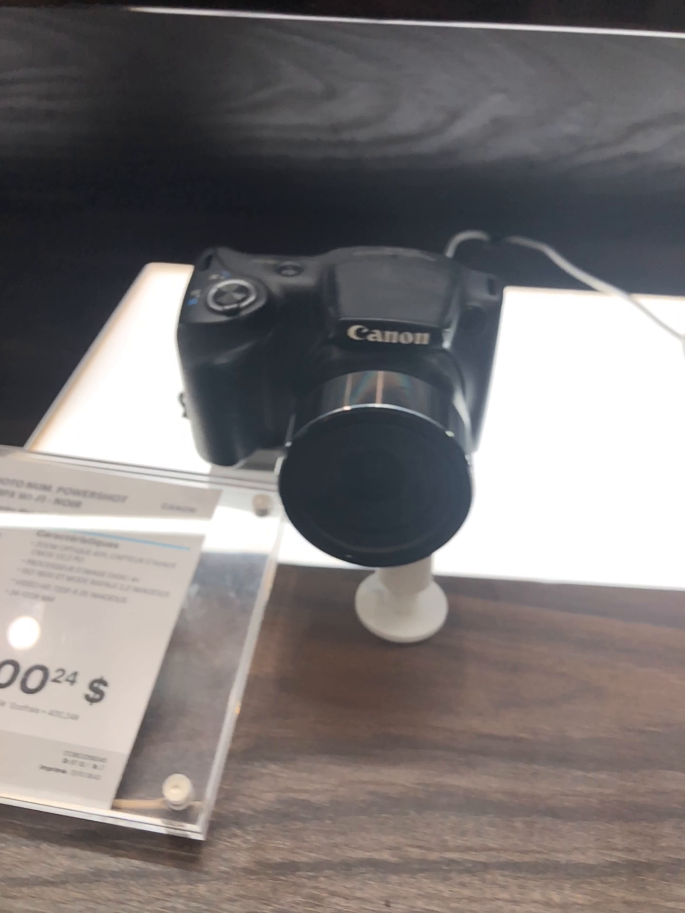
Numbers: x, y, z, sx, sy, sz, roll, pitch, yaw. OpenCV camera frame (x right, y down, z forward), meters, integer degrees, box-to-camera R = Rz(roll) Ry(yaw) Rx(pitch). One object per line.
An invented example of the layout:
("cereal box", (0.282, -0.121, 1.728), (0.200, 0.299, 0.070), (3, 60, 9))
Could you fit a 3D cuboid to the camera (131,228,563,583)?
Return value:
("camera", (0.000, -0.018, 0.237), (0.102, 0.074, 0.081), (2, 35, -1))
